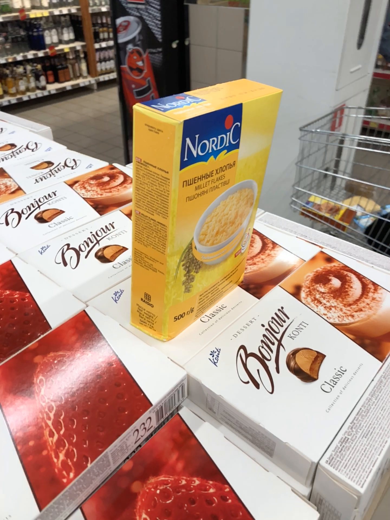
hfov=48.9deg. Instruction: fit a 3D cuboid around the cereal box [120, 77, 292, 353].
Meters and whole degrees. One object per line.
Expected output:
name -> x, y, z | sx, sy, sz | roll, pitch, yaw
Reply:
cereal box -> 0.006, -0.043, 0.409 | 0.050, 0.218, 0.161 | 29, 41, 27
